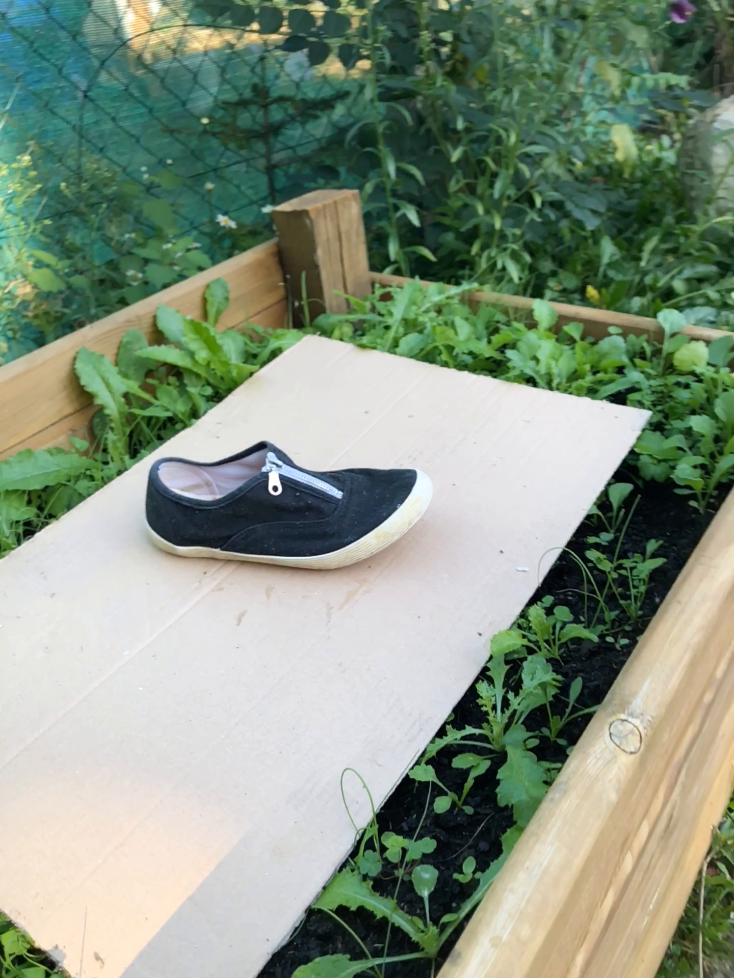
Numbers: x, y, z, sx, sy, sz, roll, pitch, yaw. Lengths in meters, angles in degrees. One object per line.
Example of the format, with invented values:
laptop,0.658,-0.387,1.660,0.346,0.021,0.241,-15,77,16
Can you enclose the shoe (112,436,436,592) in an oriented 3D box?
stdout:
shoe,-0.069,0.017,0.666,0.240,0.070,0.101,3,36,10
